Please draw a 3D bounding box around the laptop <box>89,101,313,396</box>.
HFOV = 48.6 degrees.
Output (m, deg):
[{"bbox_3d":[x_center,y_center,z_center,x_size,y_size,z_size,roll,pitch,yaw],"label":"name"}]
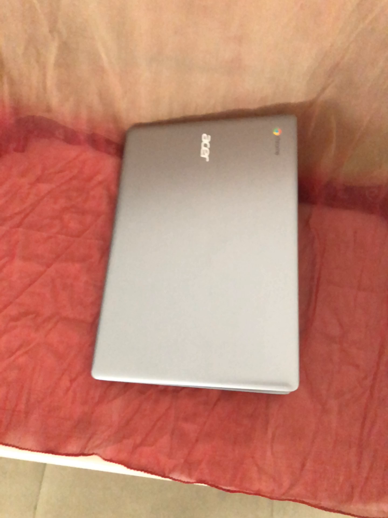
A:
[{"bbox_3d":[0.017,-0.020,0.500,0.219,0.066,0.322,4,71,1],"label":"laptop"}]
